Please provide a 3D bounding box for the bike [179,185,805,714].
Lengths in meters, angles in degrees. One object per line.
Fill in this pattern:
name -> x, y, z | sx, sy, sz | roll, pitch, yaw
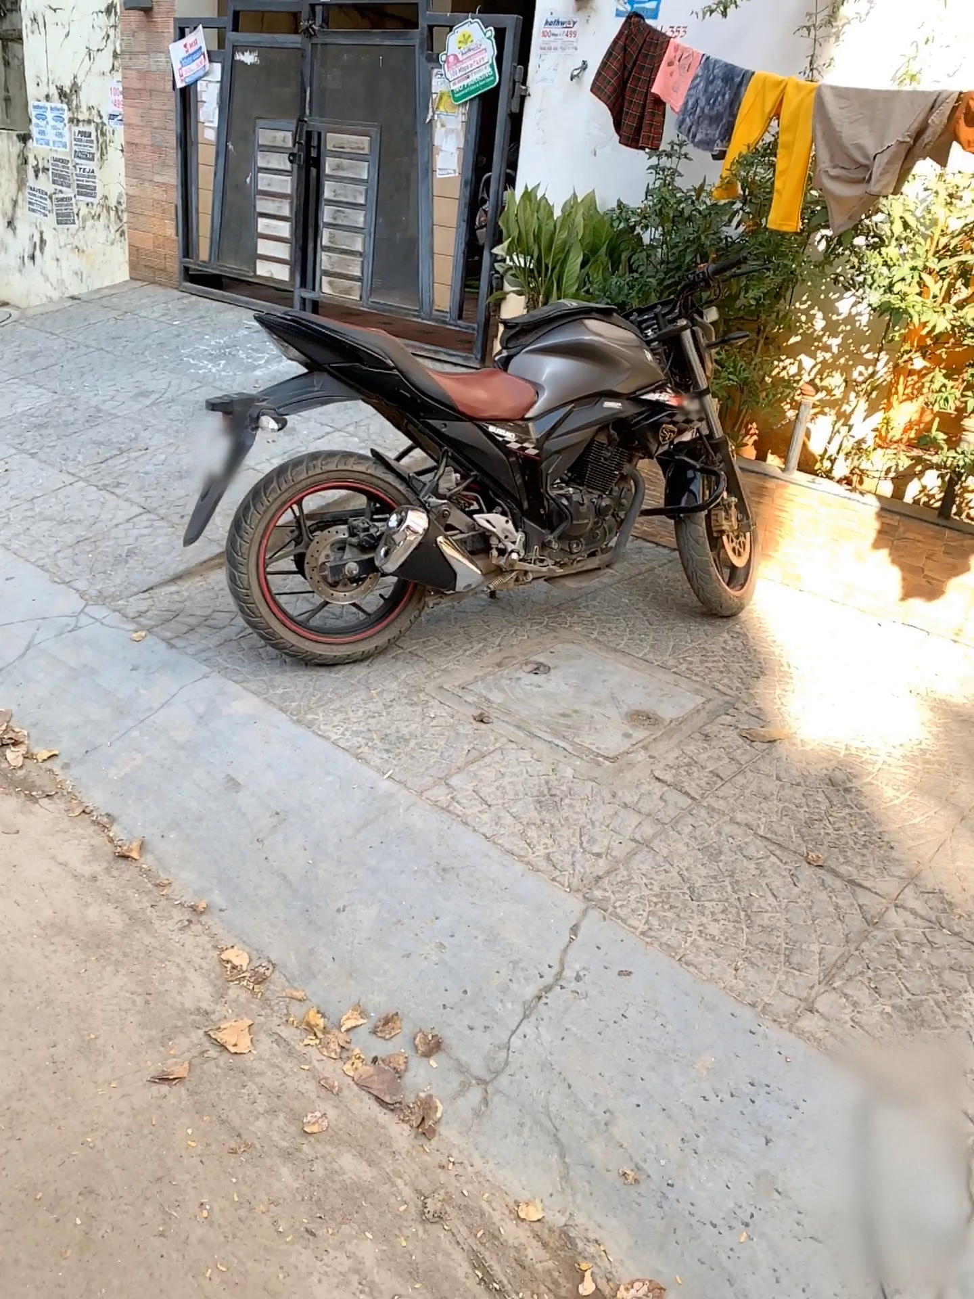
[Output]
bike -> -0.019, -0.672, 2.941 | 1.626, 1.140, 0.811 | -10, 29, -31
